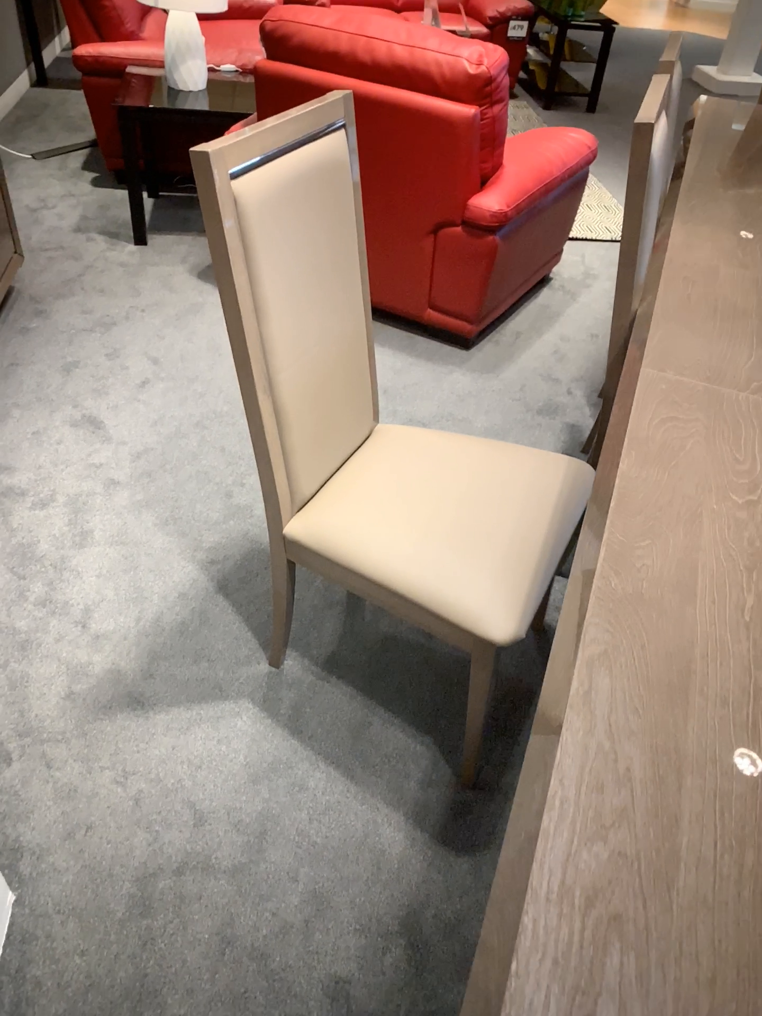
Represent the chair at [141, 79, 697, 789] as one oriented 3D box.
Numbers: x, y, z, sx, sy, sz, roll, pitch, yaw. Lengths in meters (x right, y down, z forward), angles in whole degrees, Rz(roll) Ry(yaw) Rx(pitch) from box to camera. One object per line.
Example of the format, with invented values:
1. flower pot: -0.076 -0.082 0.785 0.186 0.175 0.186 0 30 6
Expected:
1. chair: 0.068 -0.115 1.332 0.582 0.977 0.502 19 42 20
